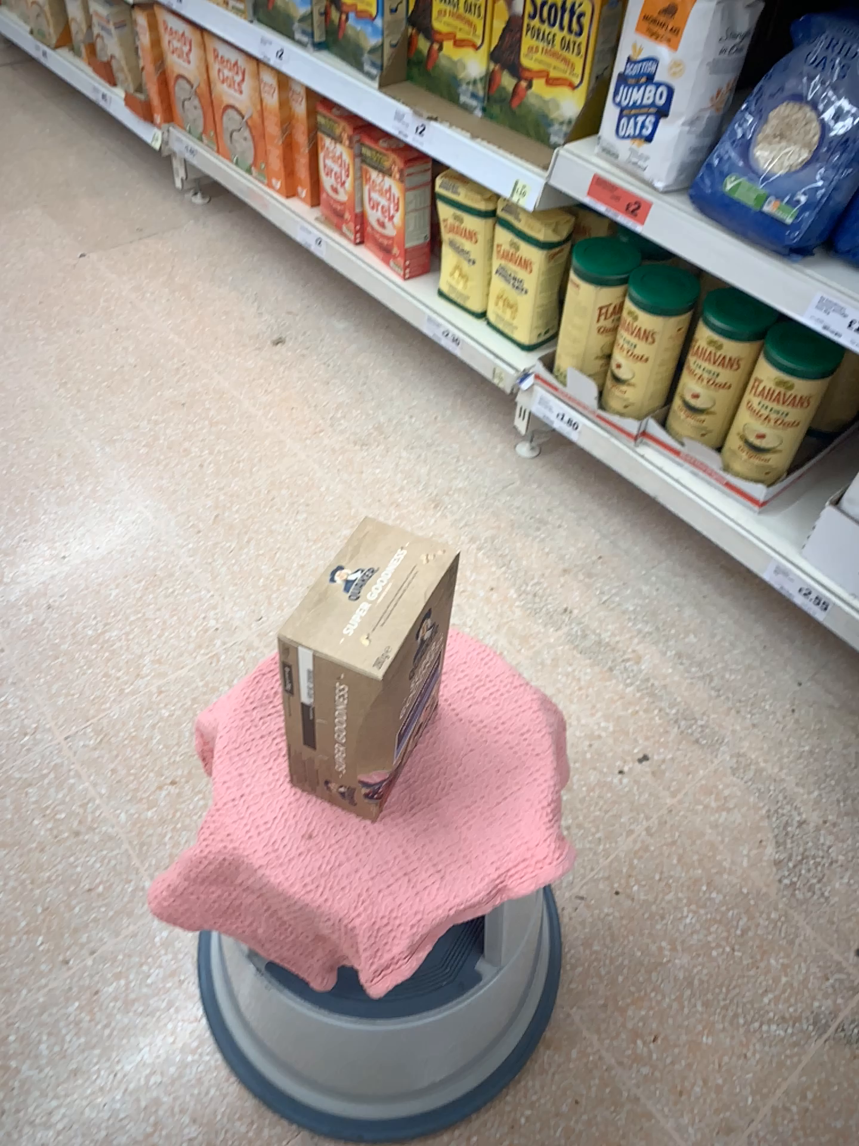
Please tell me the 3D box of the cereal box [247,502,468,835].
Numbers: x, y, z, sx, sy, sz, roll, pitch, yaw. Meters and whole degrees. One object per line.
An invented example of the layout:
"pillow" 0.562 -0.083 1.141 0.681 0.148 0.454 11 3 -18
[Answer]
"cereal box" -0.052 0.079 0.689 0.100 0.208 0.141 21 50 14
